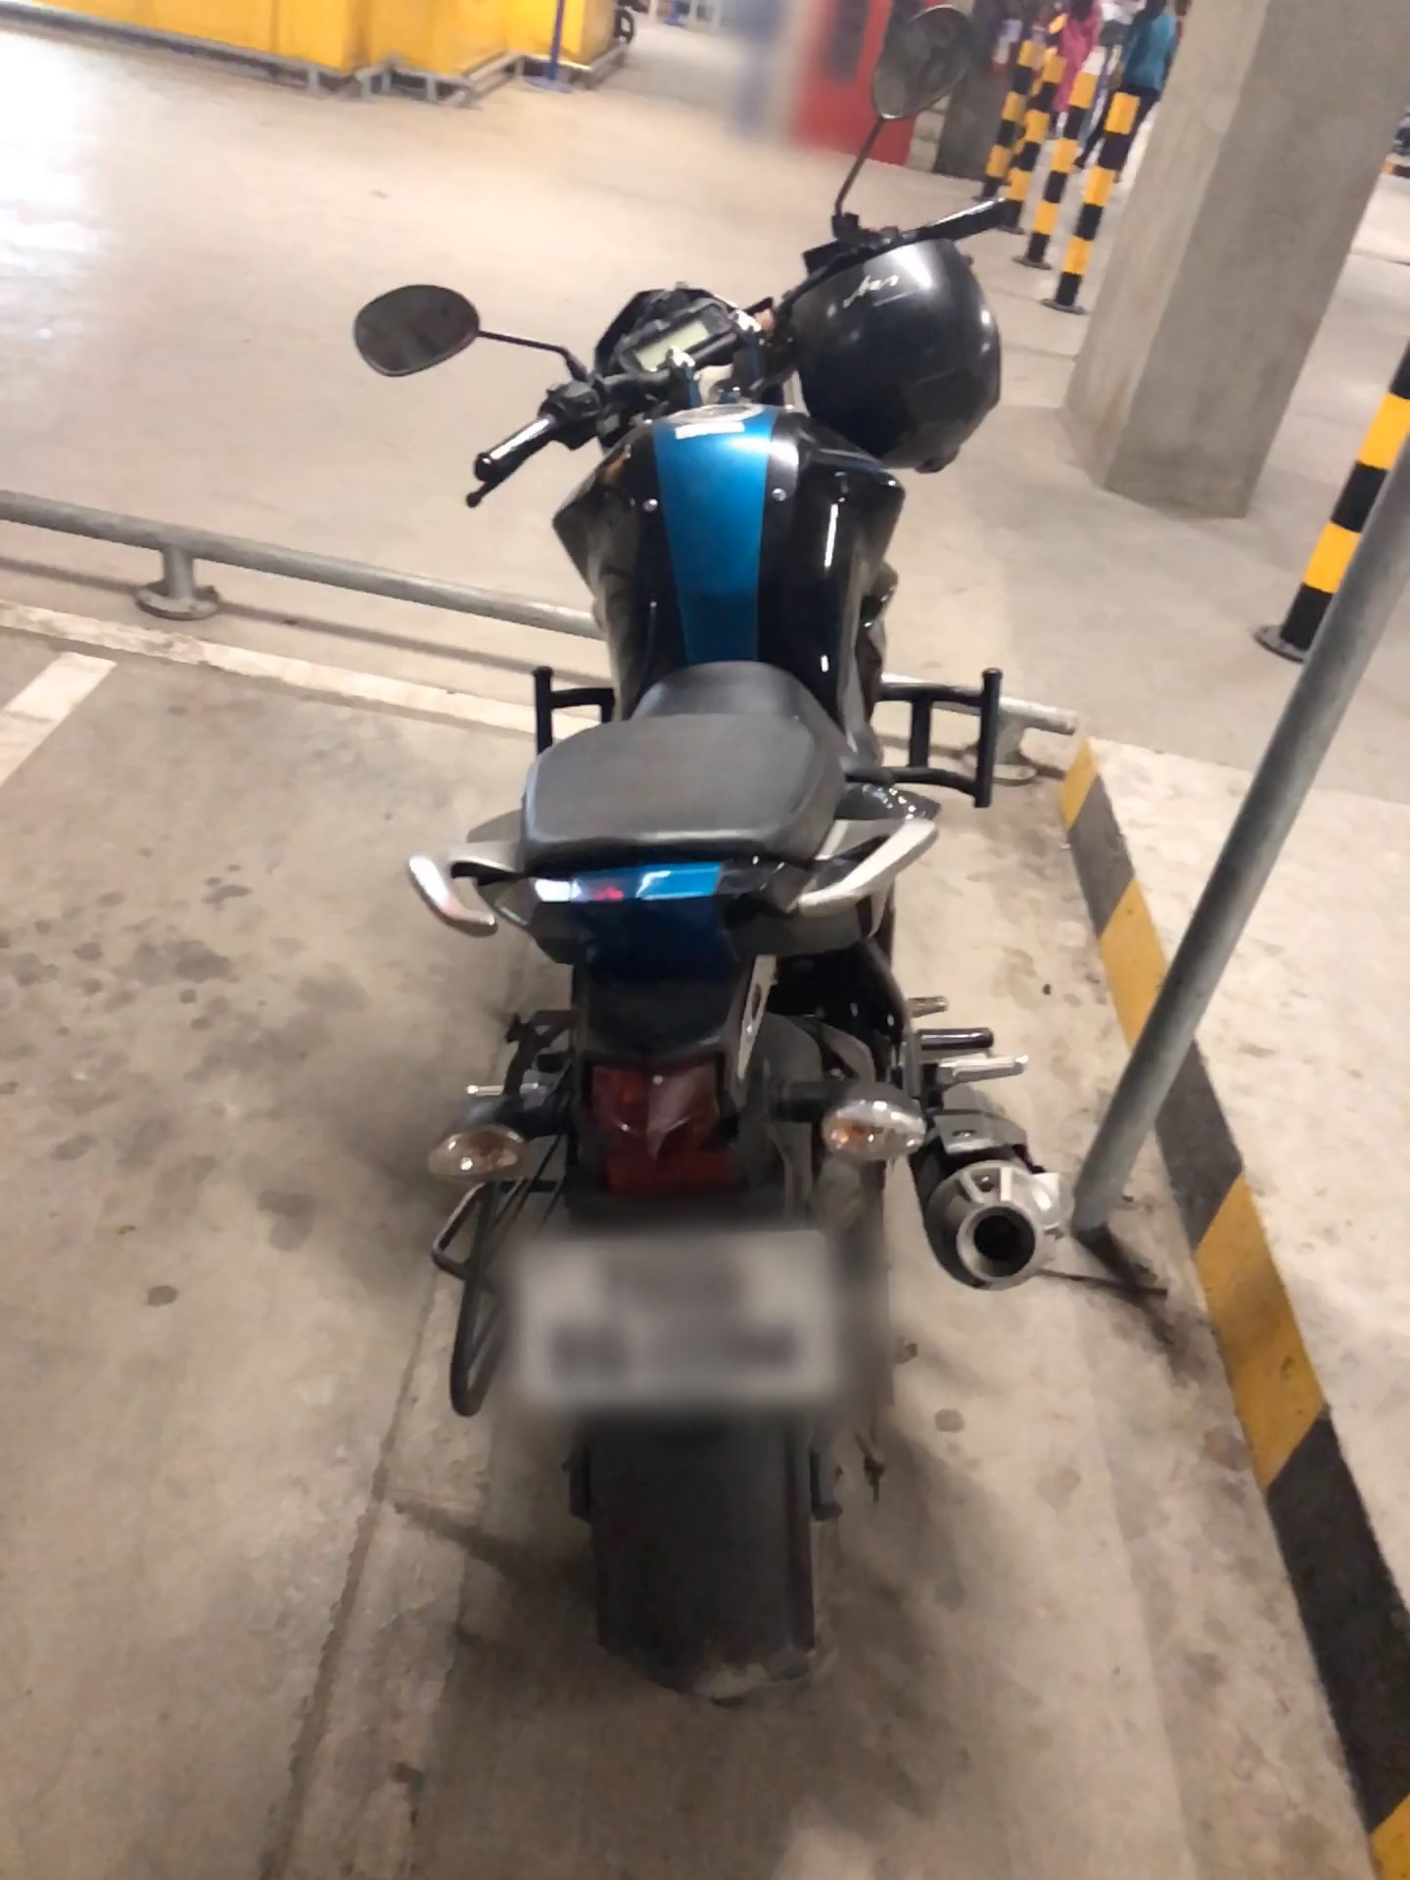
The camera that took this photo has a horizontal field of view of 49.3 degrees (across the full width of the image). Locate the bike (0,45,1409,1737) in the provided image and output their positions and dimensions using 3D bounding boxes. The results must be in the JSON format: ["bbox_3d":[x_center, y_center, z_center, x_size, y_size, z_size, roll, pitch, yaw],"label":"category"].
[{"bbox_3d":[-0.112,-0.208,1.543,0.766,0.951,1.421,8,34,-7],"label":"bike"}]
